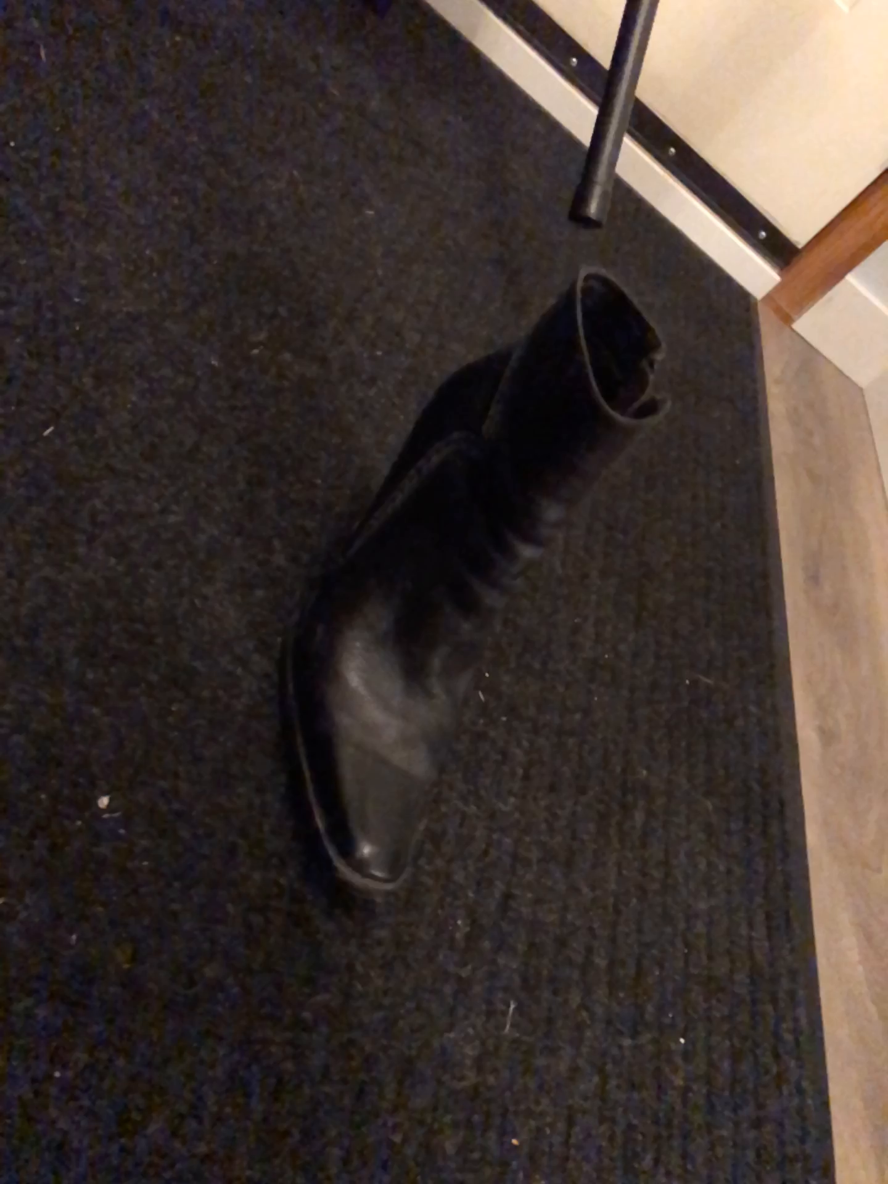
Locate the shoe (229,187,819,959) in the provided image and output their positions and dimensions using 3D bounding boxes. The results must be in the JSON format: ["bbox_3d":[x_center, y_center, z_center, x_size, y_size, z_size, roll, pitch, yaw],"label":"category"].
[{"bbox_3d":[0.017,-0.008,0.417,0.090,0.209,0.241,27,42,-24],"label":"shoe"}]
